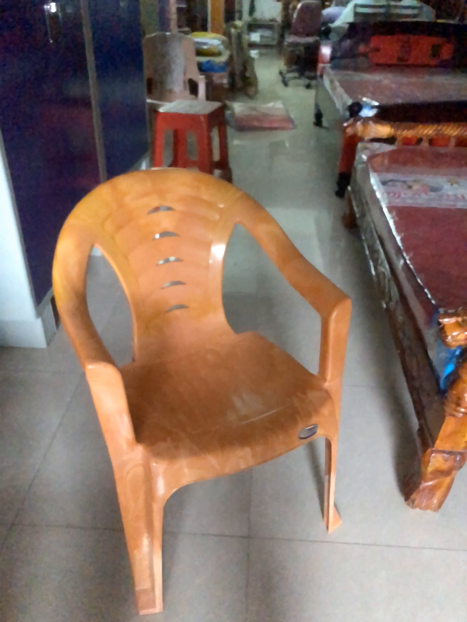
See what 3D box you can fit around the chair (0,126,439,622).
[{"bbox_3d":[-0.077,0.103,1.193,0.632,0.846,0.602,-14,35,-23],"label":"chair"}]
